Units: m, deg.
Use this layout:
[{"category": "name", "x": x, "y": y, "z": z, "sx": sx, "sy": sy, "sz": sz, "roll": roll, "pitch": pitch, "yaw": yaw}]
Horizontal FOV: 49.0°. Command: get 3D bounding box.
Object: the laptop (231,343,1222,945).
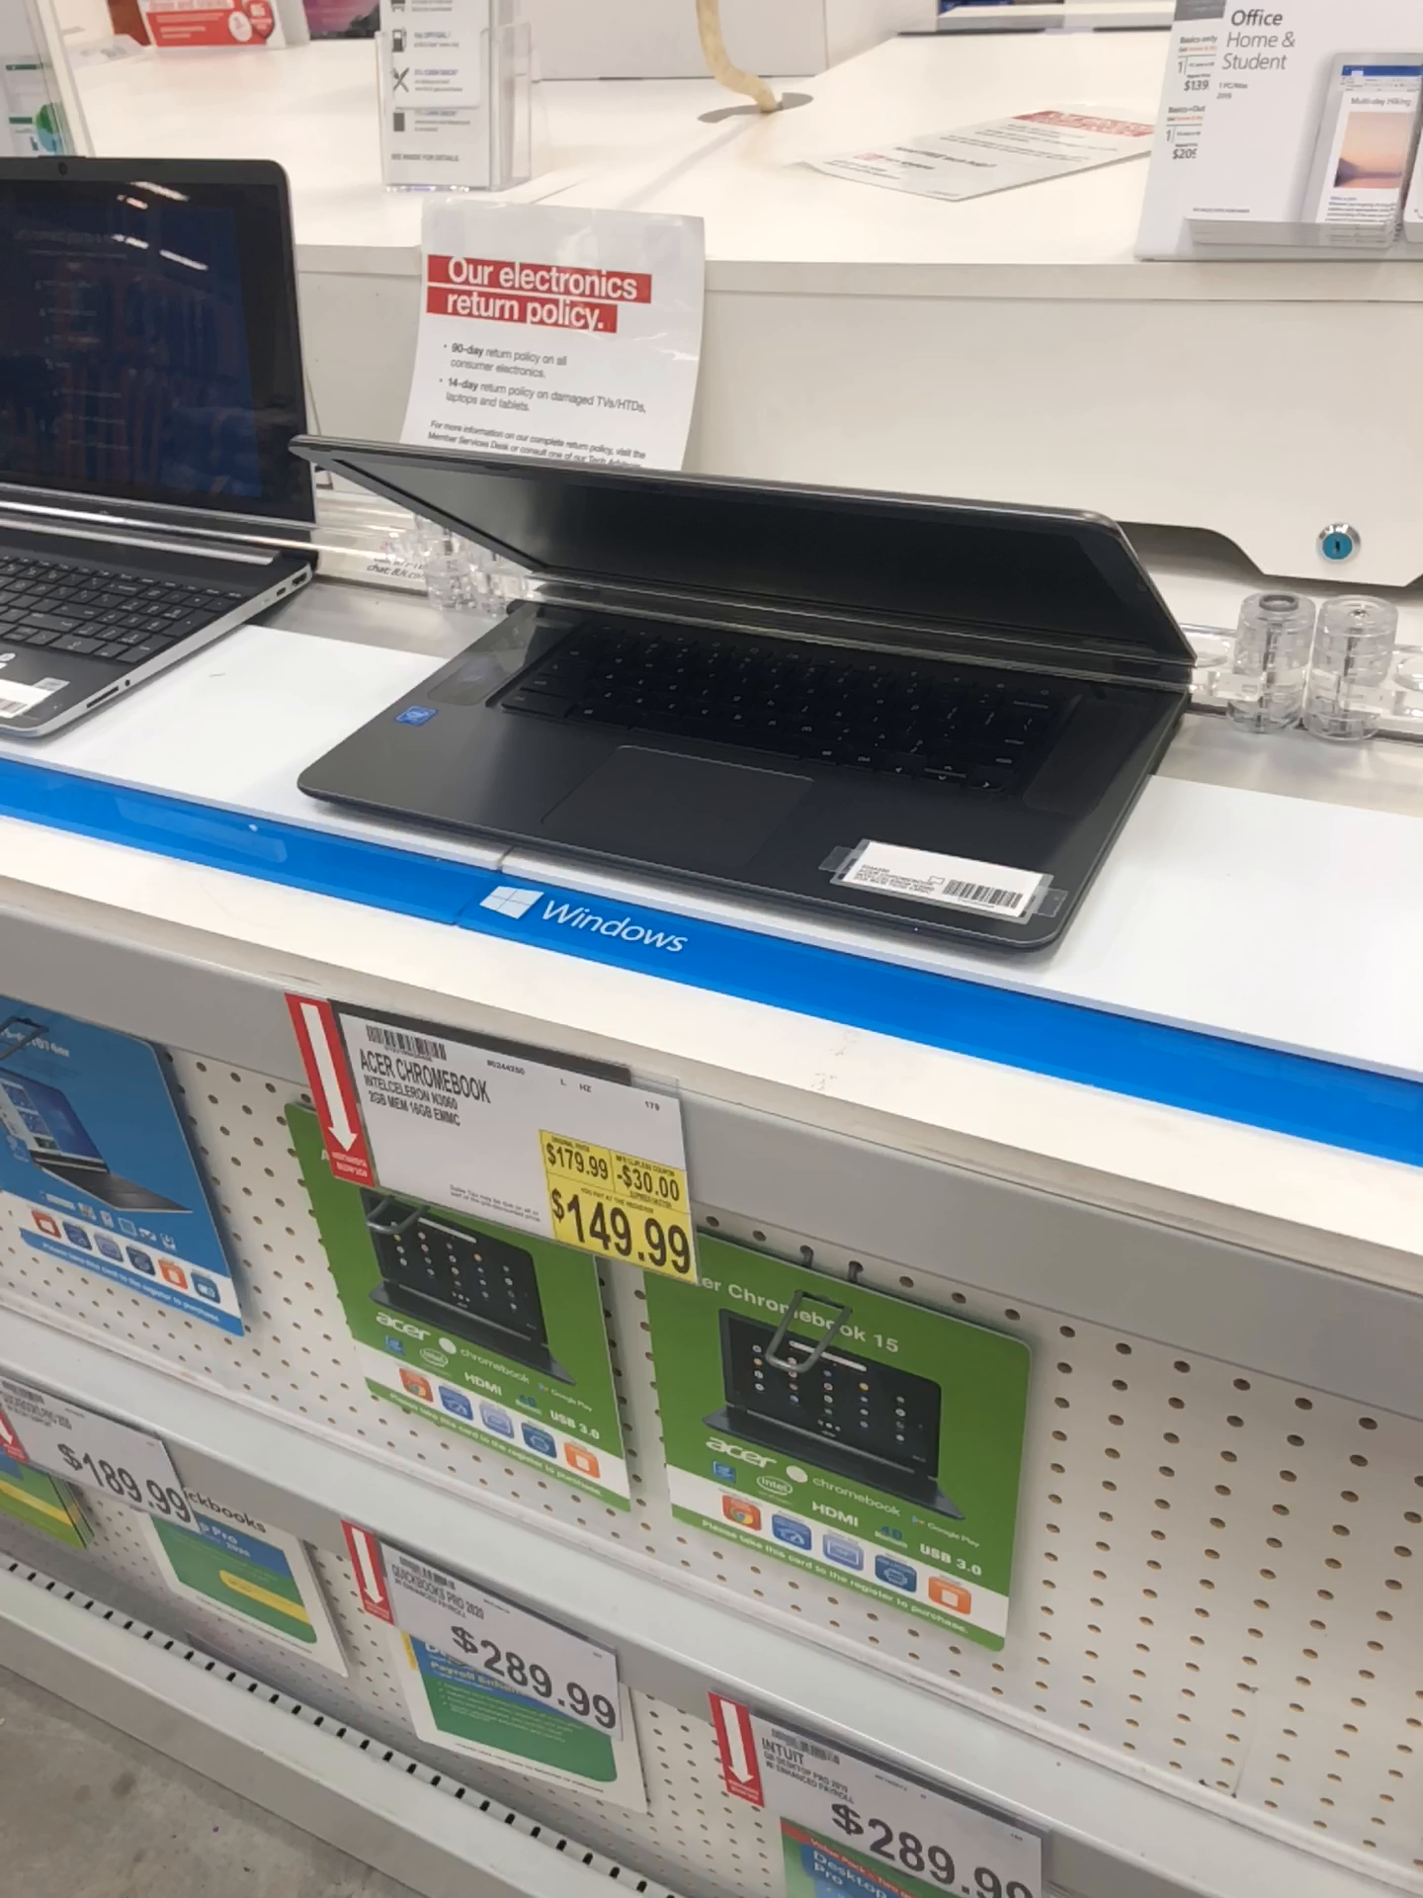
[{"category": "laptop", "x": 0.010, "y": -0.160, "z": 0.703, "sx": 0.365, "sy": 0.136, "sz": 0.220, "roll": 14, "pitch": 42, "yaw": 26}]
